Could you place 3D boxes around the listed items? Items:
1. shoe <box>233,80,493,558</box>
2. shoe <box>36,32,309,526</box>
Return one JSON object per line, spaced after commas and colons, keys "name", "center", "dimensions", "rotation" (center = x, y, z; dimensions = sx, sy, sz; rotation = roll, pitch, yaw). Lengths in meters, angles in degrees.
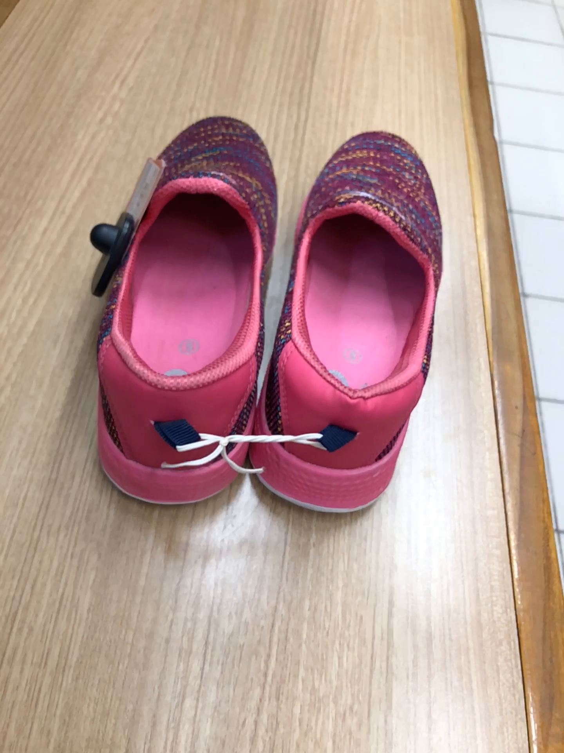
{"name": "shoe", "center": [0.054, -0.046, 0.372], "dimensions": [0.100, 0.099, 0.261], "rotation": [13, 56, 2]}
{"name": "shoe", "center": [-0.041, -0.062, 0.338], "dimensions": [0.090, 0.099, 0.251], "rotation": [6, 56, -3]}
